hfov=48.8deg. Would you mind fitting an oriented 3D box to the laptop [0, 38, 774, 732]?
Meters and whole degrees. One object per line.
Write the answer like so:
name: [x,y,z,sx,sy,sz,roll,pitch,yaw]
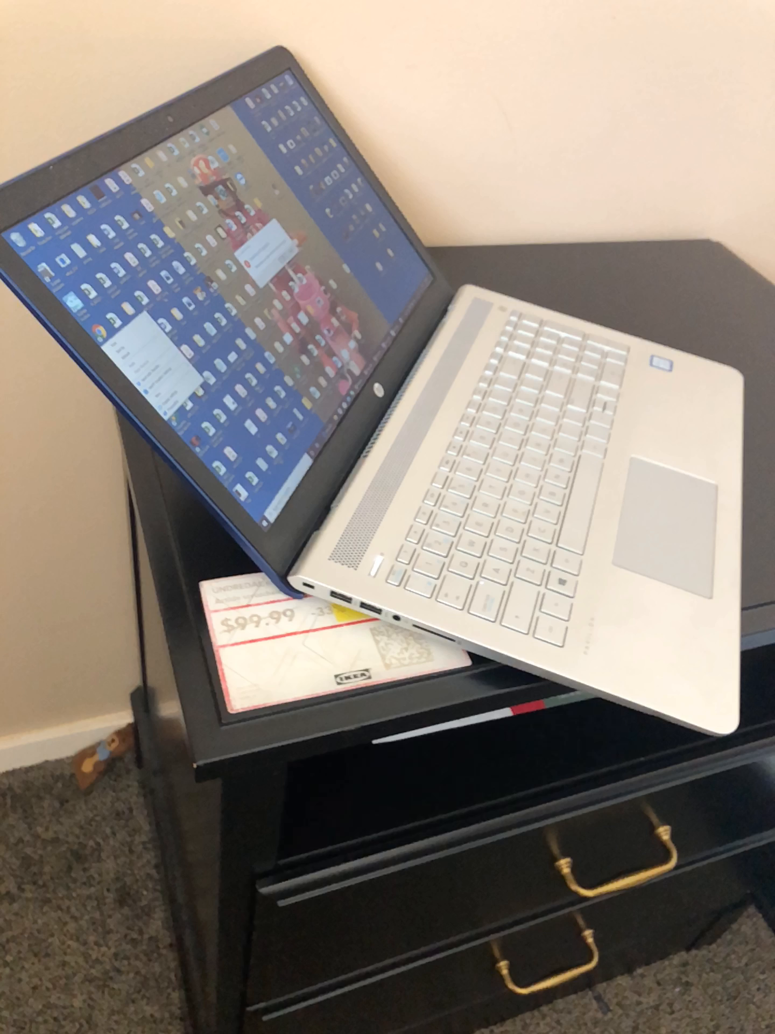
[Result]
laptop: [0.047,-0.127,0.527,0.400,0.141,0.368,20,42,7]
